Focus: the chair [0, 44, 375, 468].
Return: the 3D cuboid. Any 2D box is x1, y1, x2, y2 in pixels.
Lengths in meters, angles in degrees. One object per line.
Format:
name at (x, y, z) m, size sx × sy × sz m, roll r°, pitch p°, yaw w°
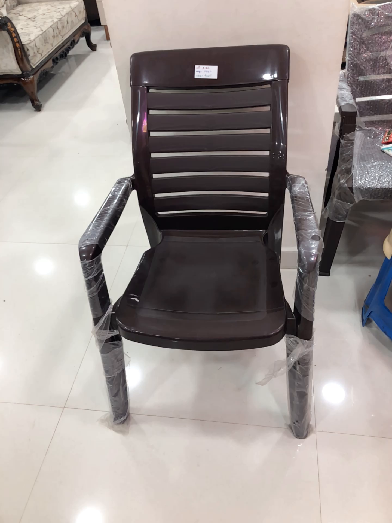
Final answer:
chair at (0.022, -0.002, 1.266) m, size 0.640 × 1.004 × 0.674 m, roll 2°, pitch 39°, yaw 7°
